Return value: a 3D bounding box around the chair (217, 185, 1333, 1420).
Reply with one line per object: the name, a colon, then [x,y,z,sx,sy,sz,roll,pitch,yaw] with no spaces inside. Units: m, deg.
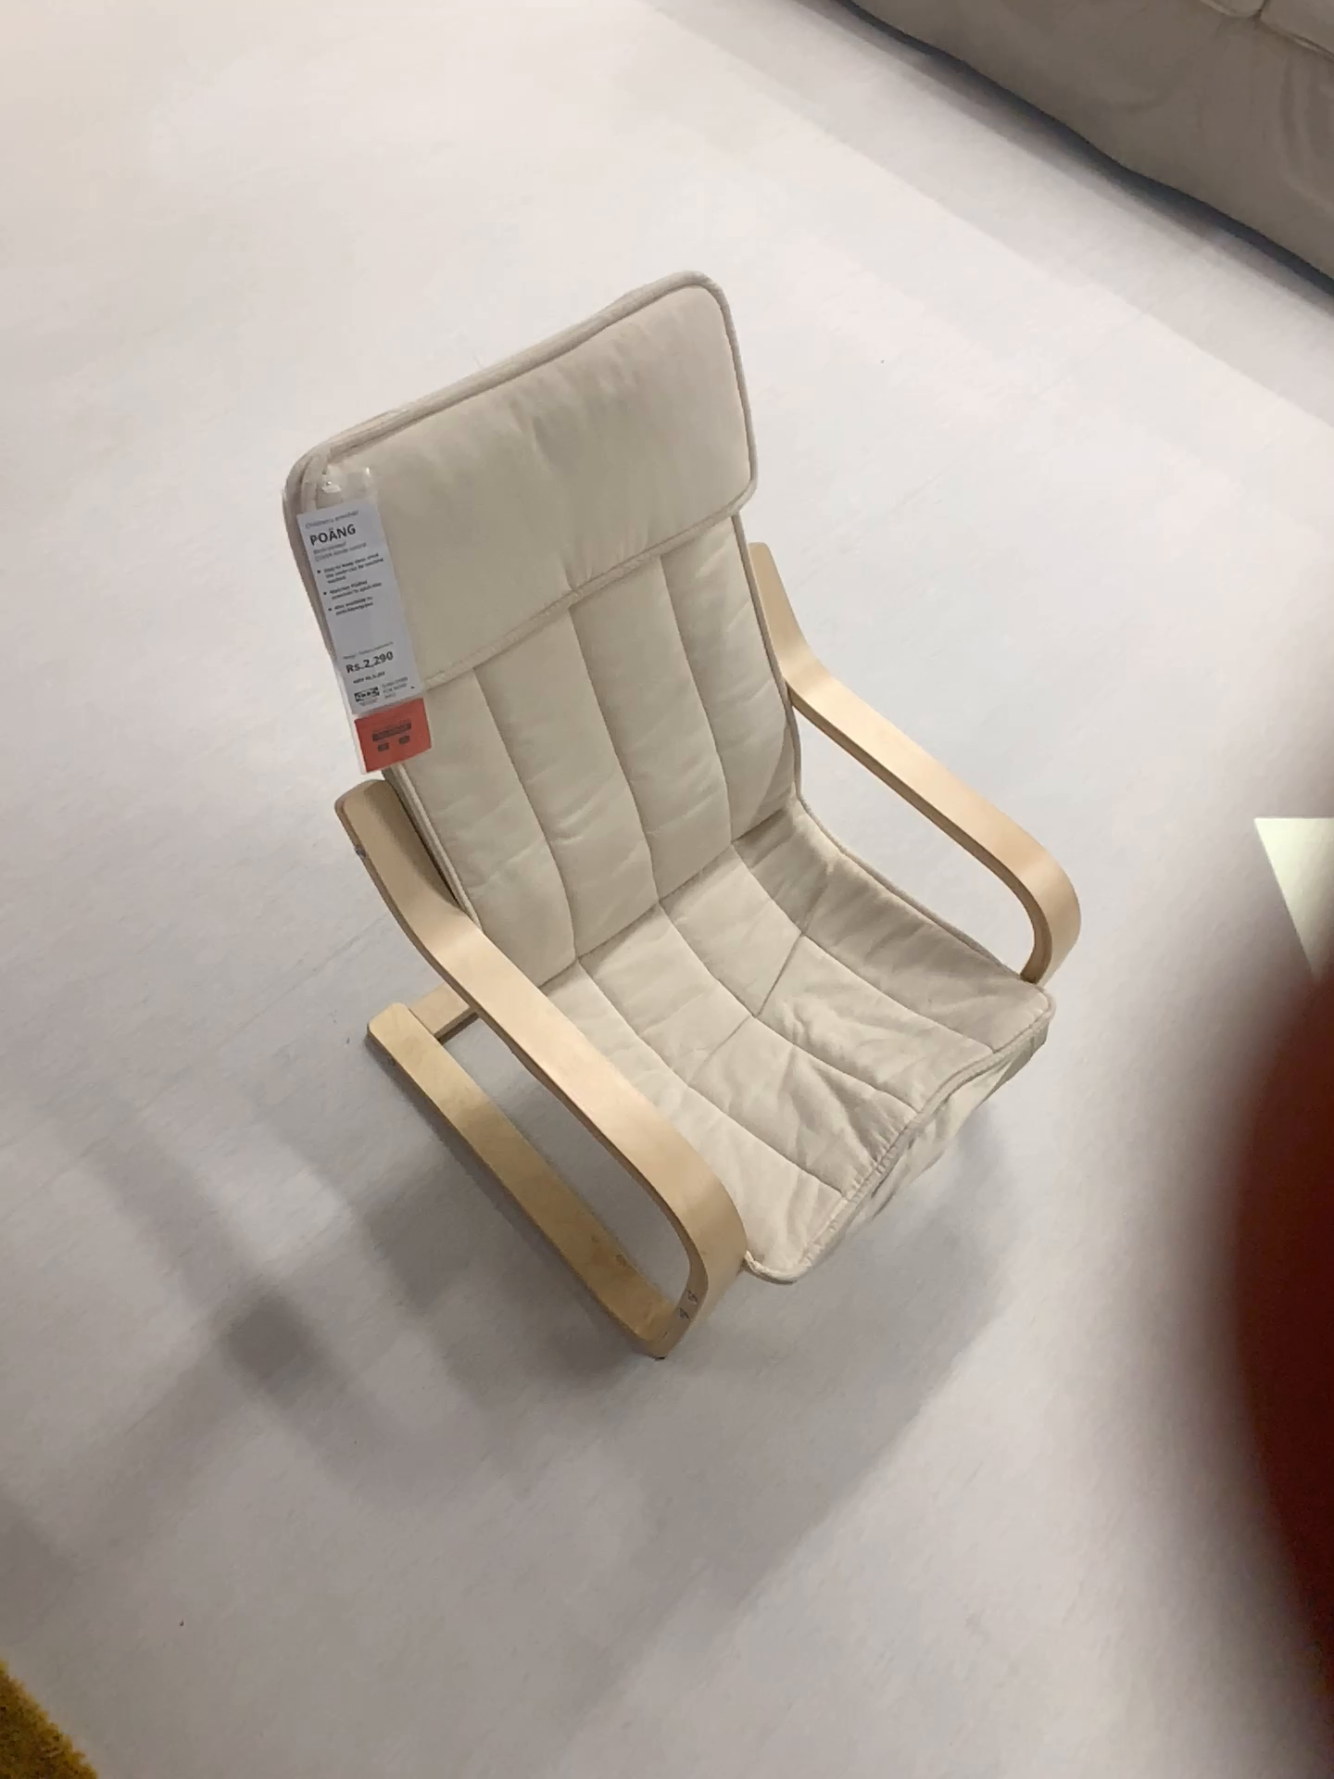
chair: [0.048,-0.005,1.158,0.491,0.798,0.540,-38,71,-26]
